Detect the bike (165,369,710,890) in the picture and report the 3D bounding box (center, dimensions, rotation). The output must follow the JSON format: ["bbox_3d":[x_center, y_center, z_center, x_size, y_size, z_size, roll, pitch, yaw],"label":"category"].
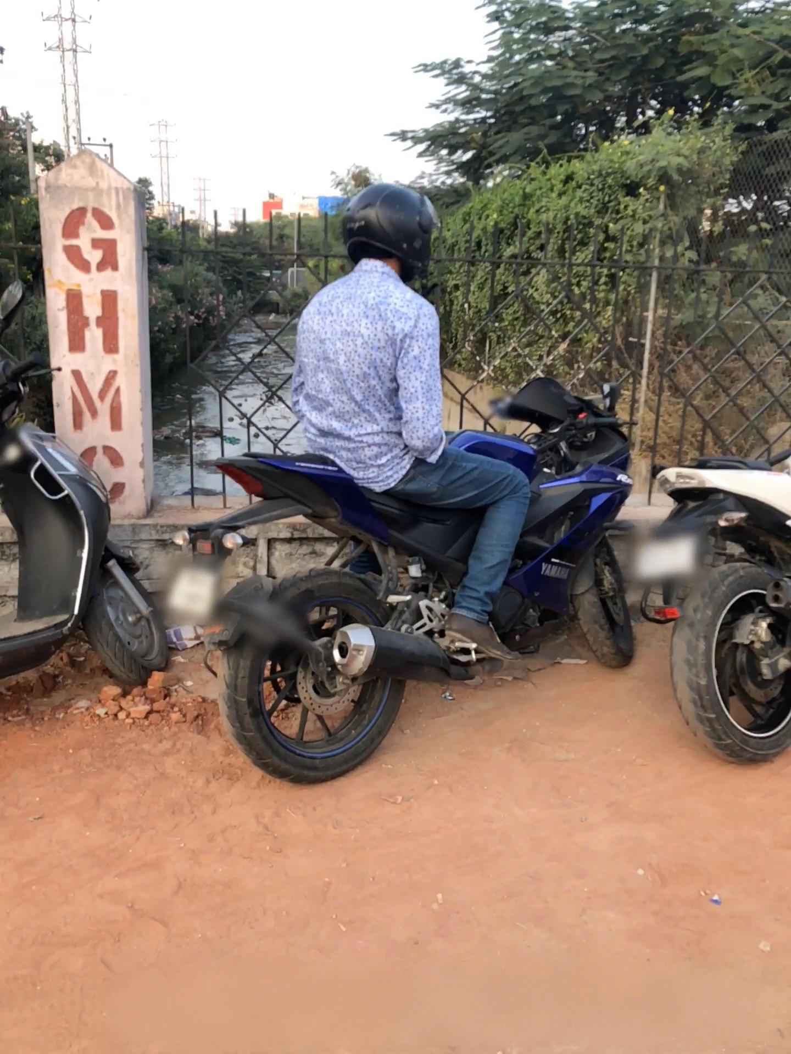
[{"bbox_3d":[0.268,0.095,2.888,0.731,0.996,1.951,14,22,39],"label":"bike"}]
